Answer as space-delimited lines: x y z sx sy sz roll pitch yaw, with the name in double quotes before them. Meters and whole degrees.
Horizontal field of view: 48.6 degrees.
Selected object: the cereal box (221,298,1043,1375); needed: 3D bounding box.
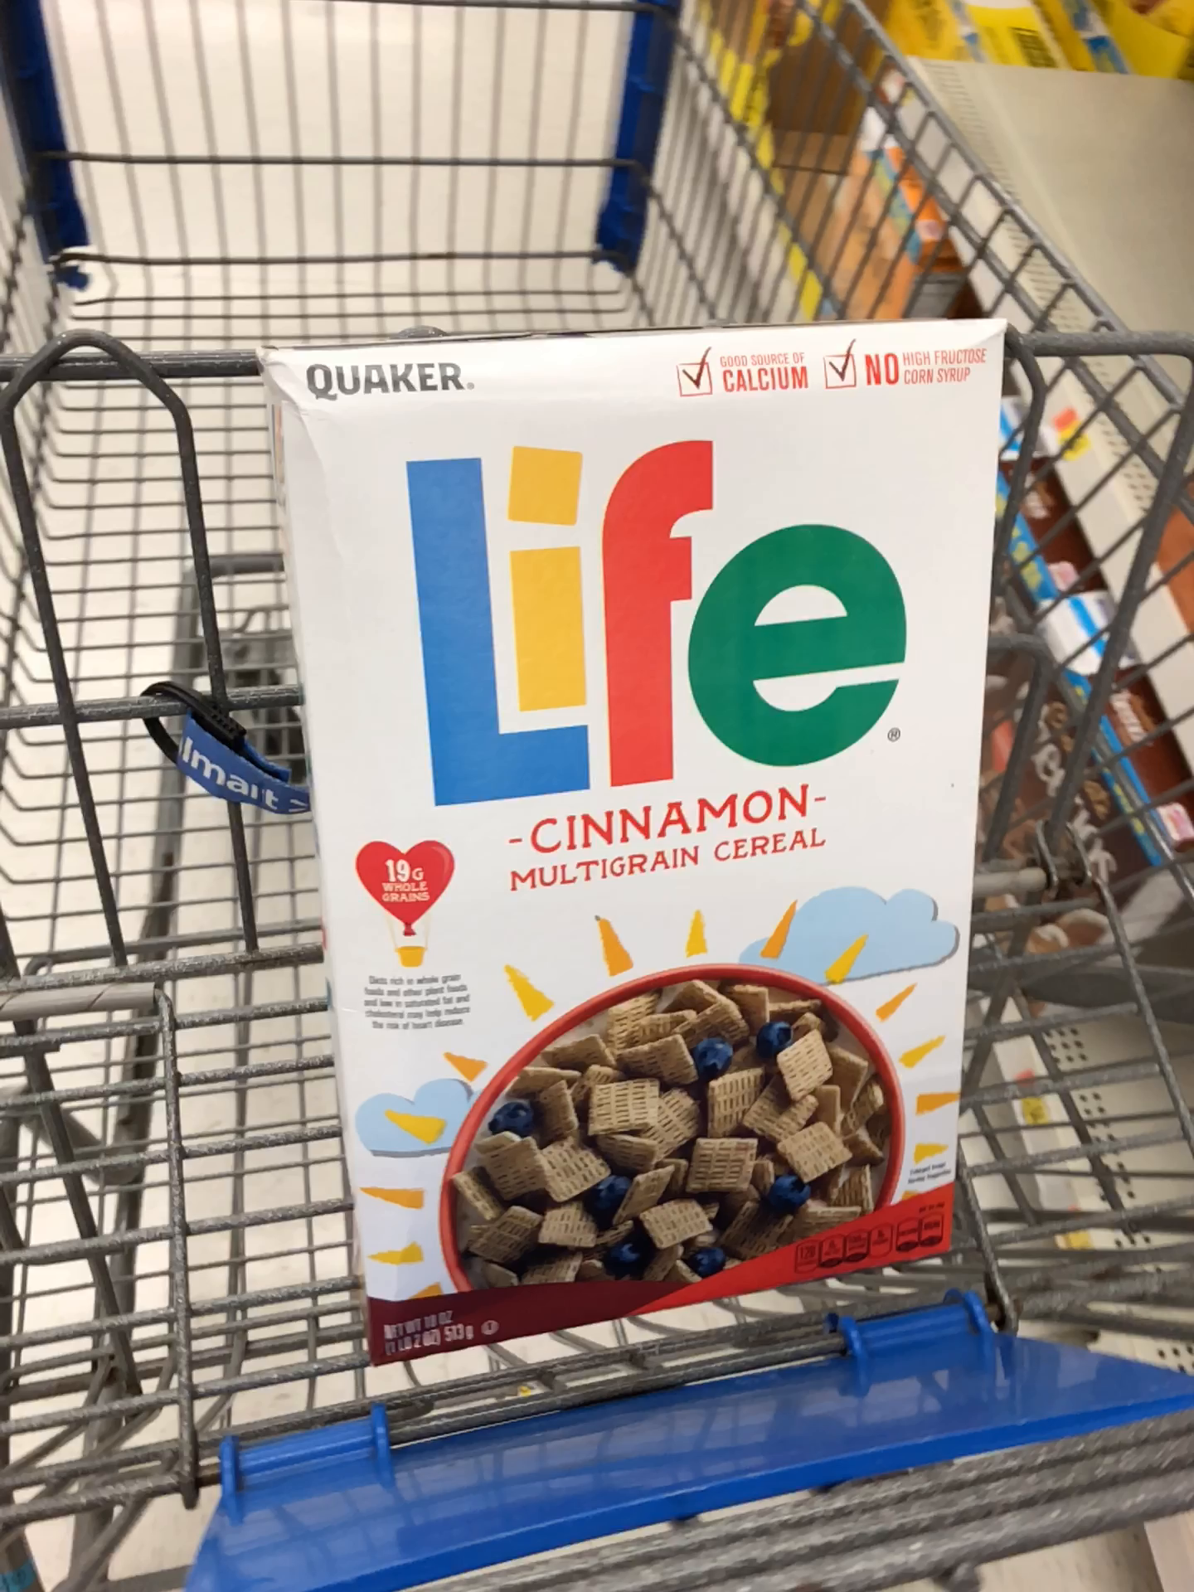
"cereal box" 0.014 0.010 0.387 0.200 0.280 0.070 -7 18 -11
